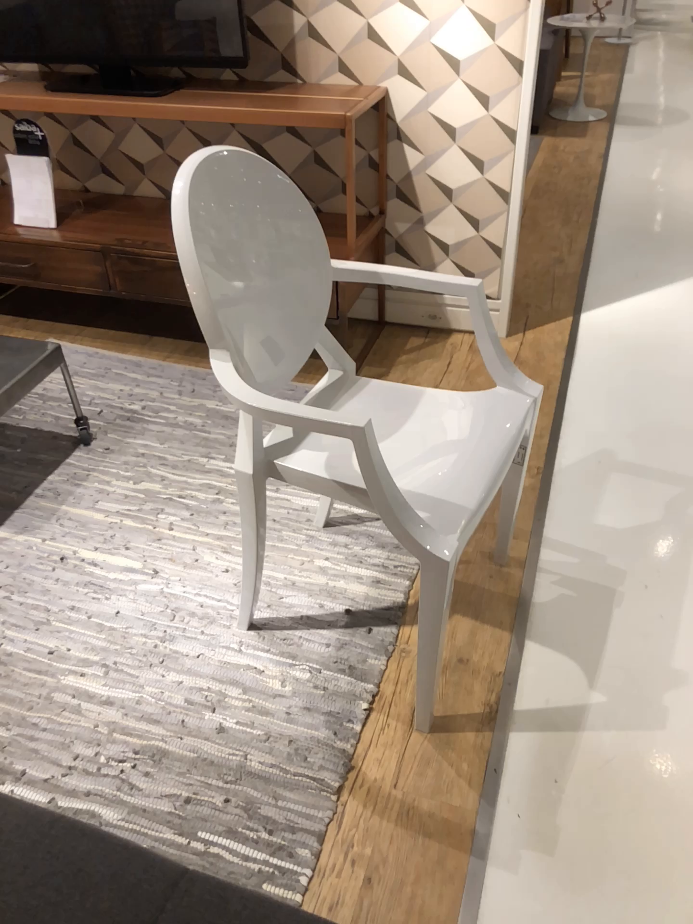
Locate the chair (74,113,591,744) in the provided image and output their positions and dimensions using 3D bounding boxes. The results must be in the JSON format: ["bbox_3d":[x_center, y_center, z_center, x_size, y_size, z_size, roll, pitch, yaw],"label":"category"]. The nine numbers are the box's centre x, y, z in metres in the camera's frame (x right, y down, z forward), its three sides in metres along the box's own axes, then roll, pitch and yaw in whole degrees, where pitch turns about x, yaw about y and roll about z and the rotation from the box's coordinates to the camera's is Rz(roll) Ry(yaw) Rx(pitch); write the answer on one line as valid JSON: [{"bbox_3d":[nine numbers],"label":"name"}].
[{"bbox_3d":[0.026,-0.070,1.307,0.550,0.844,0.513,14,40,21],"label":"chair"}]
